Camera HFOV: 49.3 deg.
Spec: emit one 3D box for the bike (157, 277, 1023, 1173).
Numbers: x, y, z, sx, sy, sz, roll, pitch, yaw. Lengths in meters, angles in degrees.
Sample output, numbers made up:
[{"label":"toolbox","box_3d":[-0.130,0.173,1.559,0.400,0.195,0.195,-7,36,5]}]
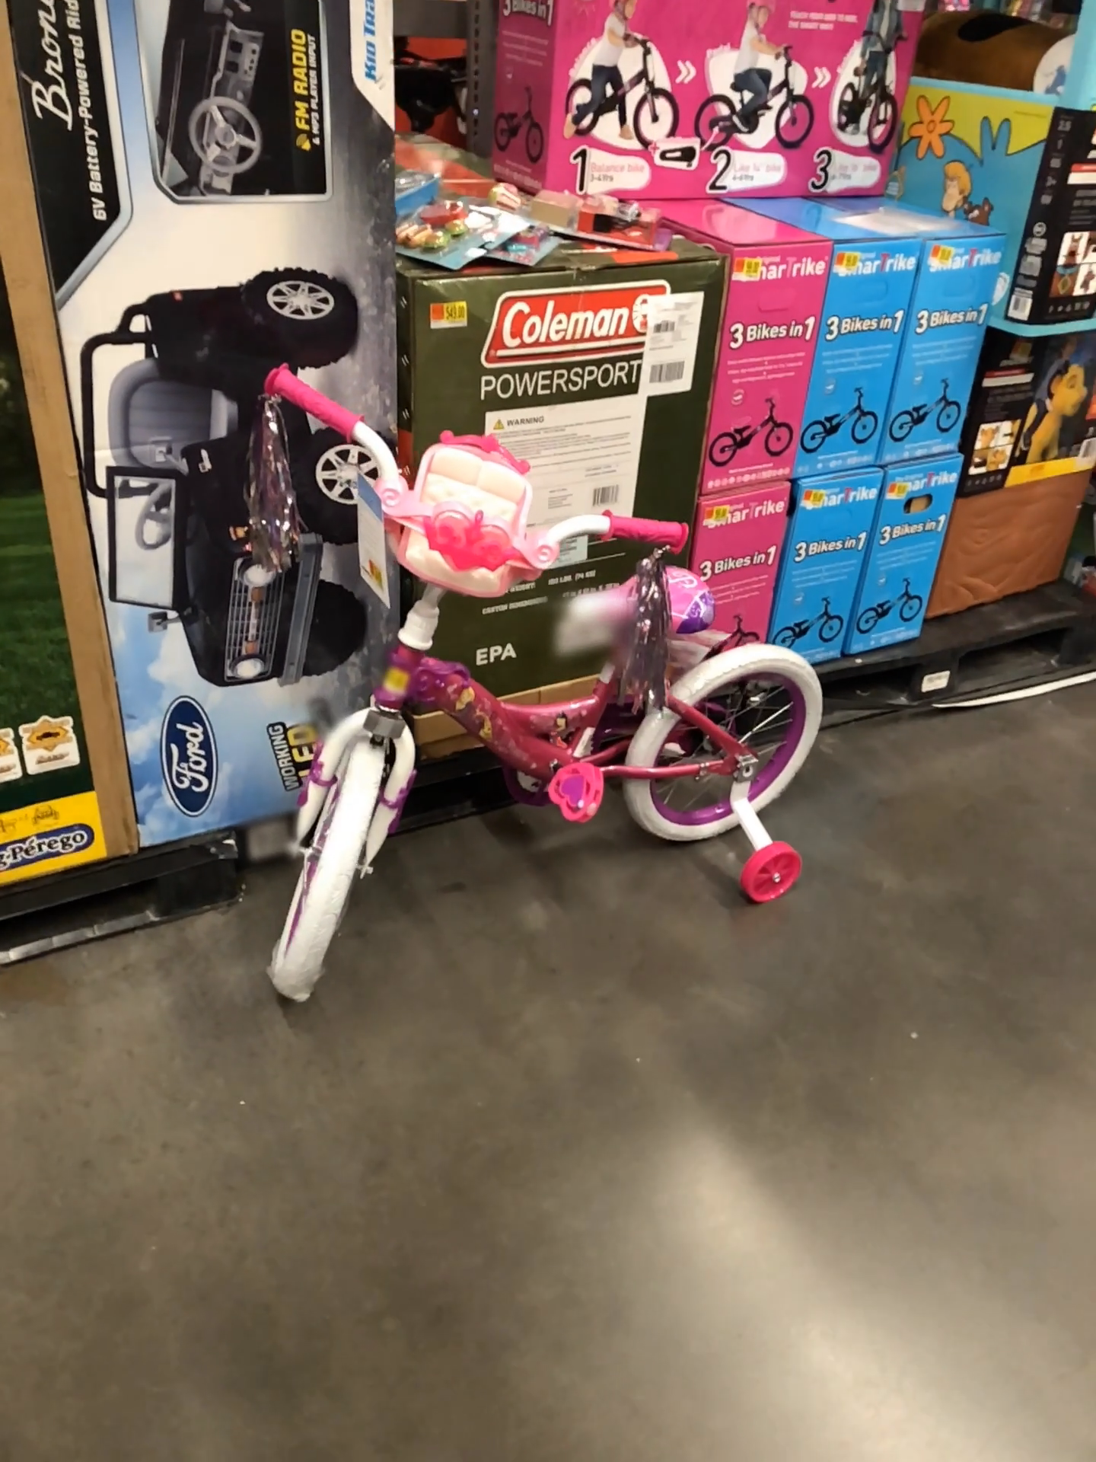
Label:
[{"label":"bike","box_3d":[0.065,-0.073,1.656,0.950,0.854,0.478,-23,42,-33]}]
